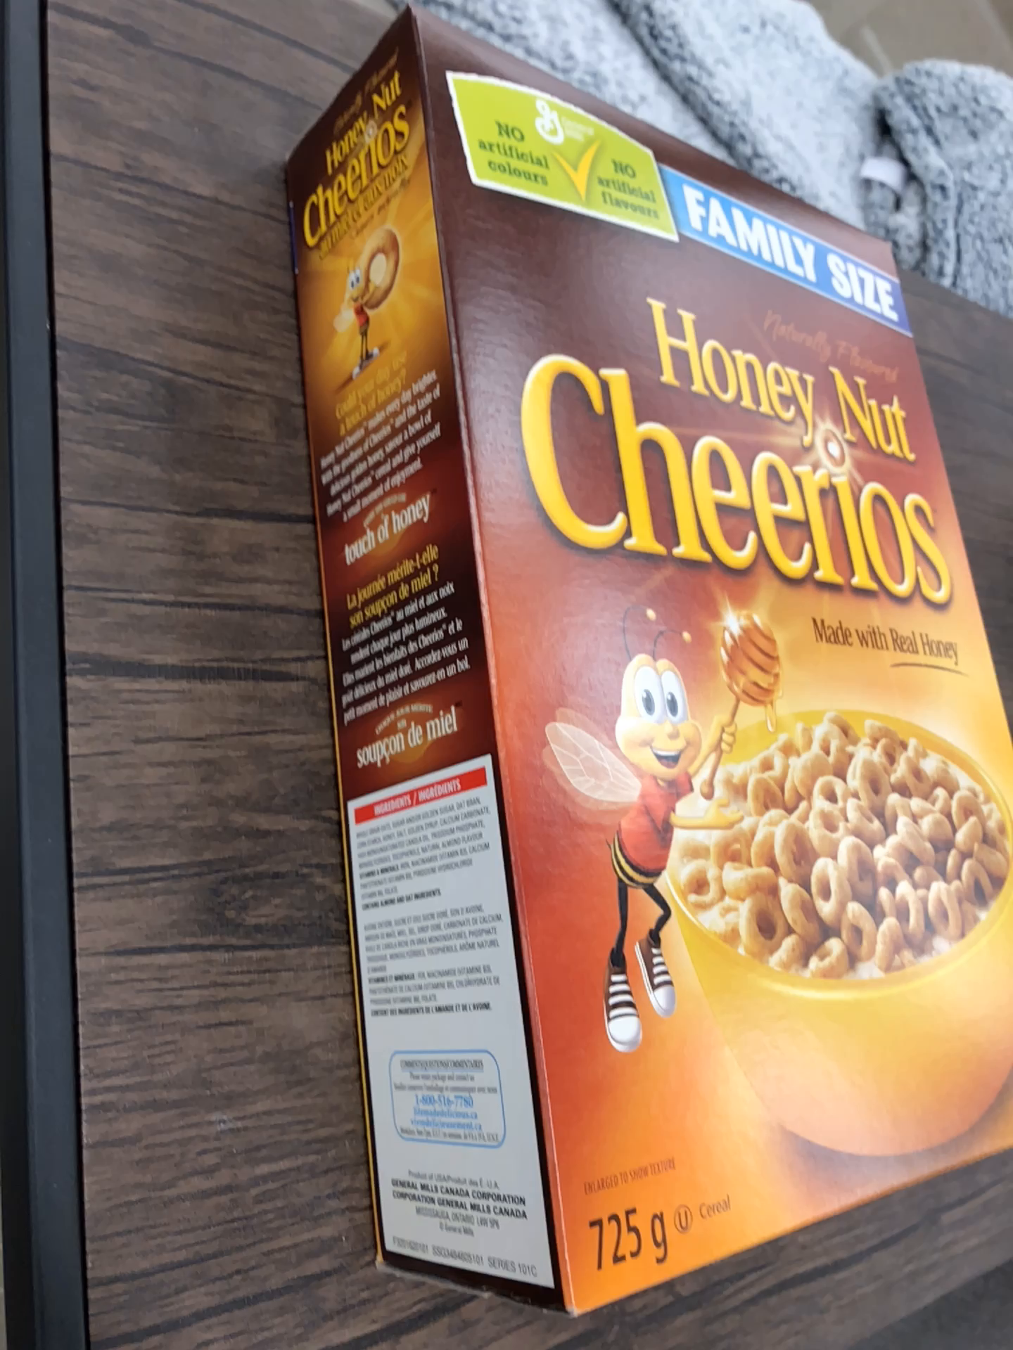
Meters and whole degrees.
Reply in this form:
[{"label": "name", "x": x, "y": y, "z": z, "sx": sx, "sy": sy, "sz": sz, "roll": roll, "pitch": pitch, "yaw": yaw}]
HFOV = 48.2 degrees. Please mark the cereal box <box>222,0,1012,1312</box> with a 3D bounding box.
[{"label": "cereal box", "x": 0.050, "y": -0.035, "z": 0.385, "sx": 0.251, "sy": 0.080, "sz": 0.380, "roll": 3, "pitch": 72, "yaw": -37}]
